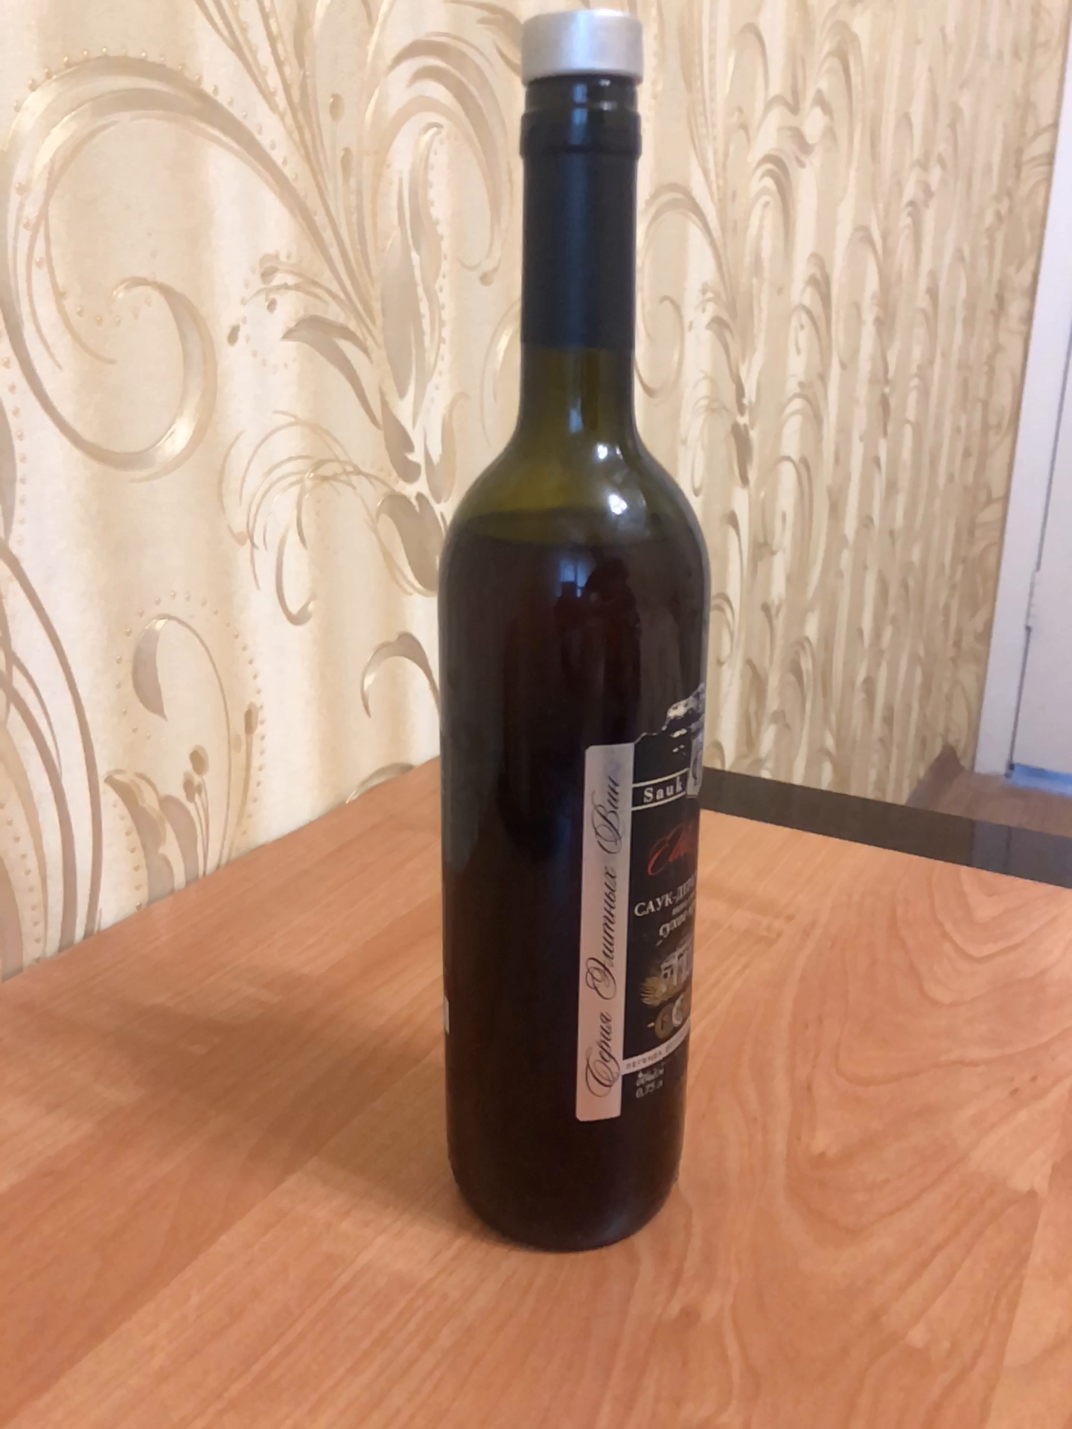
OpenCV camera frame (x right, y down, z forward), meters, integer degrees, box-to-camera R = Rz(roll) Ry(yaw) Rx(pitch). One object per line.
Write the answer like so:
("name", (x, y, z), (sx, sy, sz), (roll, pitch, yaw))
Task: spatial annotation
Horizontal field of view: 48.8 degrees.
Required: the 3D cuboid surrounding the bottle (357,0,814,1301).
("bottle", (0.013, -0.012, 0.322), (0.073, 0.322, 0.084), (11, 21, 31))
